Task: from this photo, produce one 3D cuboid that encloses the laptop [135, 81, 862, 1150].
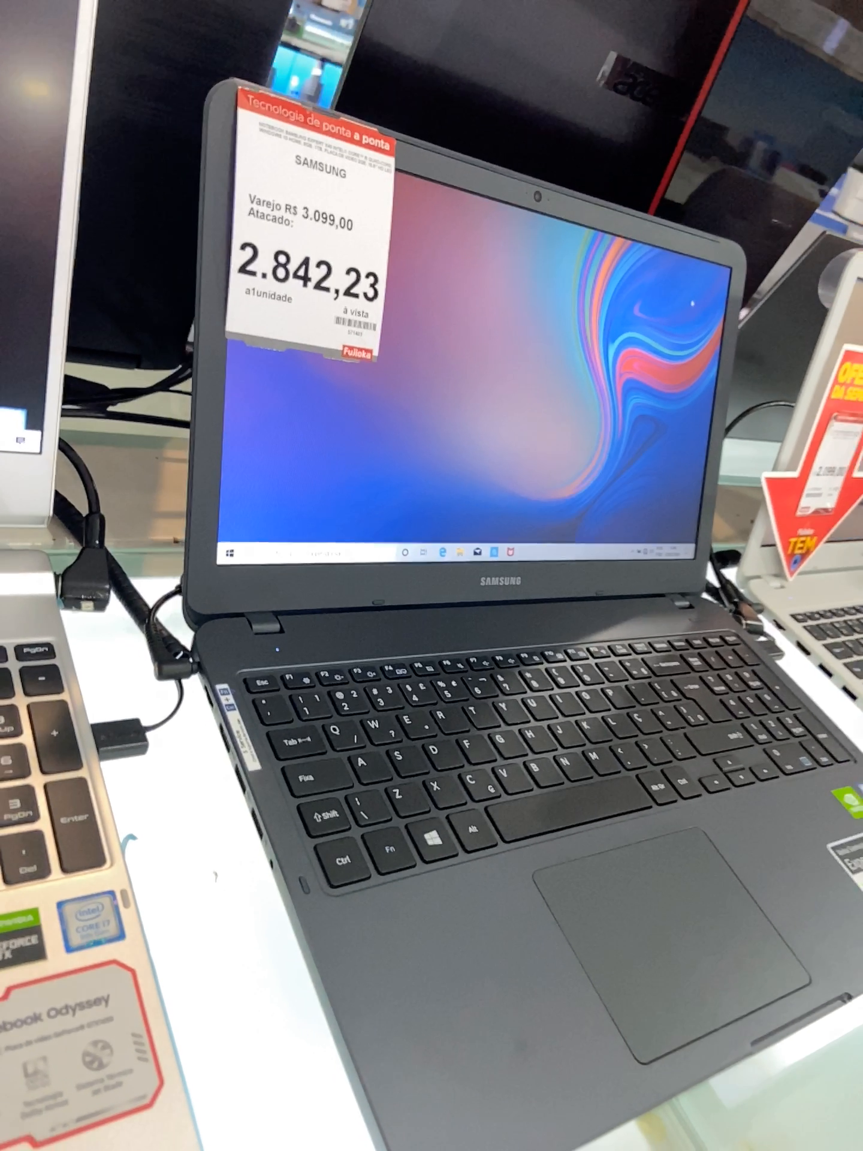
[{"bbox_3d":[0.103,-0.019,0.425,0.367,0.193,0.370,0,41,-35],"label":"laptop"}]
